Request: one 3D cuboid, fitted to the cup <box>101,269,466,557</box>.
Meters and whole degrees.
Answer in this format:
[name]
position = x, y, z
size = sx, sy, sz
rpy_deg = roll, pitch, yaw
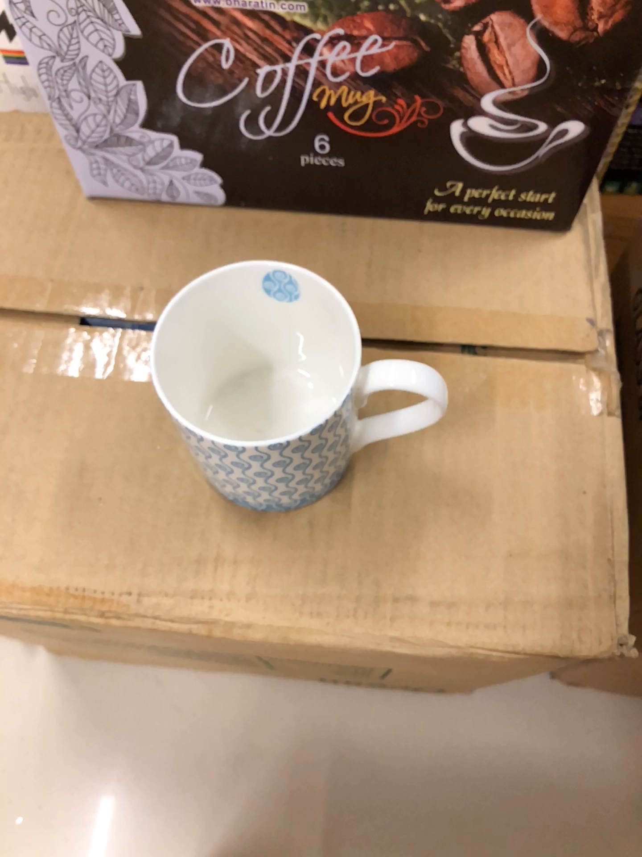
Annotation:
[cup]
position = -0.009, -0.001, 0.275
size = 0.110, 0.090, 0.070
rpy_deg = 5, 68, 4
